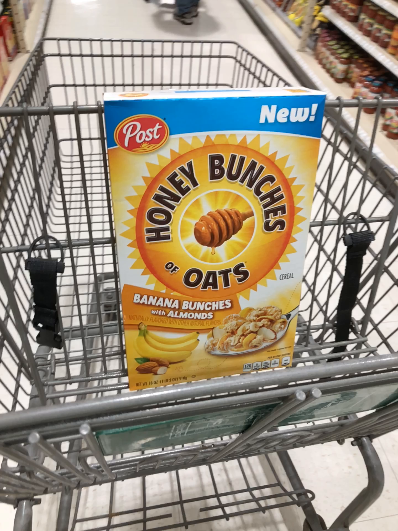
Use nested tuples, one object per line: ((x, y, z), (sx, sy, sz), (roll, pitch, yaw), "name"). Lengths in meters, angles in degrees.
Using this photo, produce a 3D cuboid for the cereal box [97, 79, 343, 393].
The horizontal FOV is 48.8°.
((0.015, -0.022, 0.443), (0.200, 0.299, 0.060), (-6, 28, -12), "cereal box")
